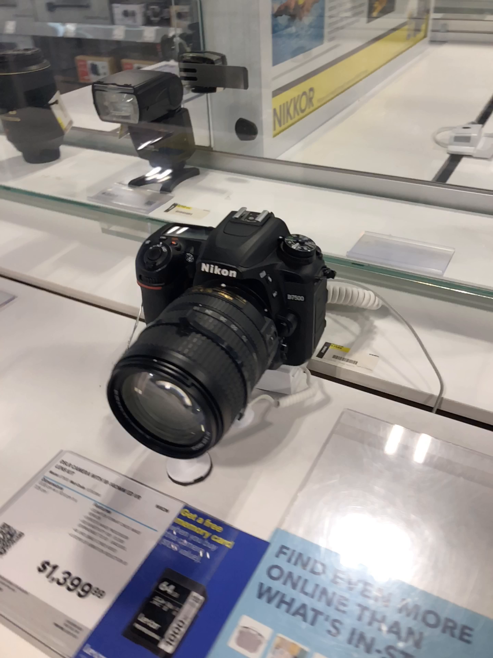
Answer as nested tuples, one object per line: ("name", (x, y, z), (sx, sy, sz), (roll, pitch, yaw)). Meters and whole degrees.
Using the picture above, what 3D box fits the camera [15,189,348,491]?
("camera", (-0.026, -0.011, 0.377), (0.140, 0.089, 0.191), (13, 39, 20))
